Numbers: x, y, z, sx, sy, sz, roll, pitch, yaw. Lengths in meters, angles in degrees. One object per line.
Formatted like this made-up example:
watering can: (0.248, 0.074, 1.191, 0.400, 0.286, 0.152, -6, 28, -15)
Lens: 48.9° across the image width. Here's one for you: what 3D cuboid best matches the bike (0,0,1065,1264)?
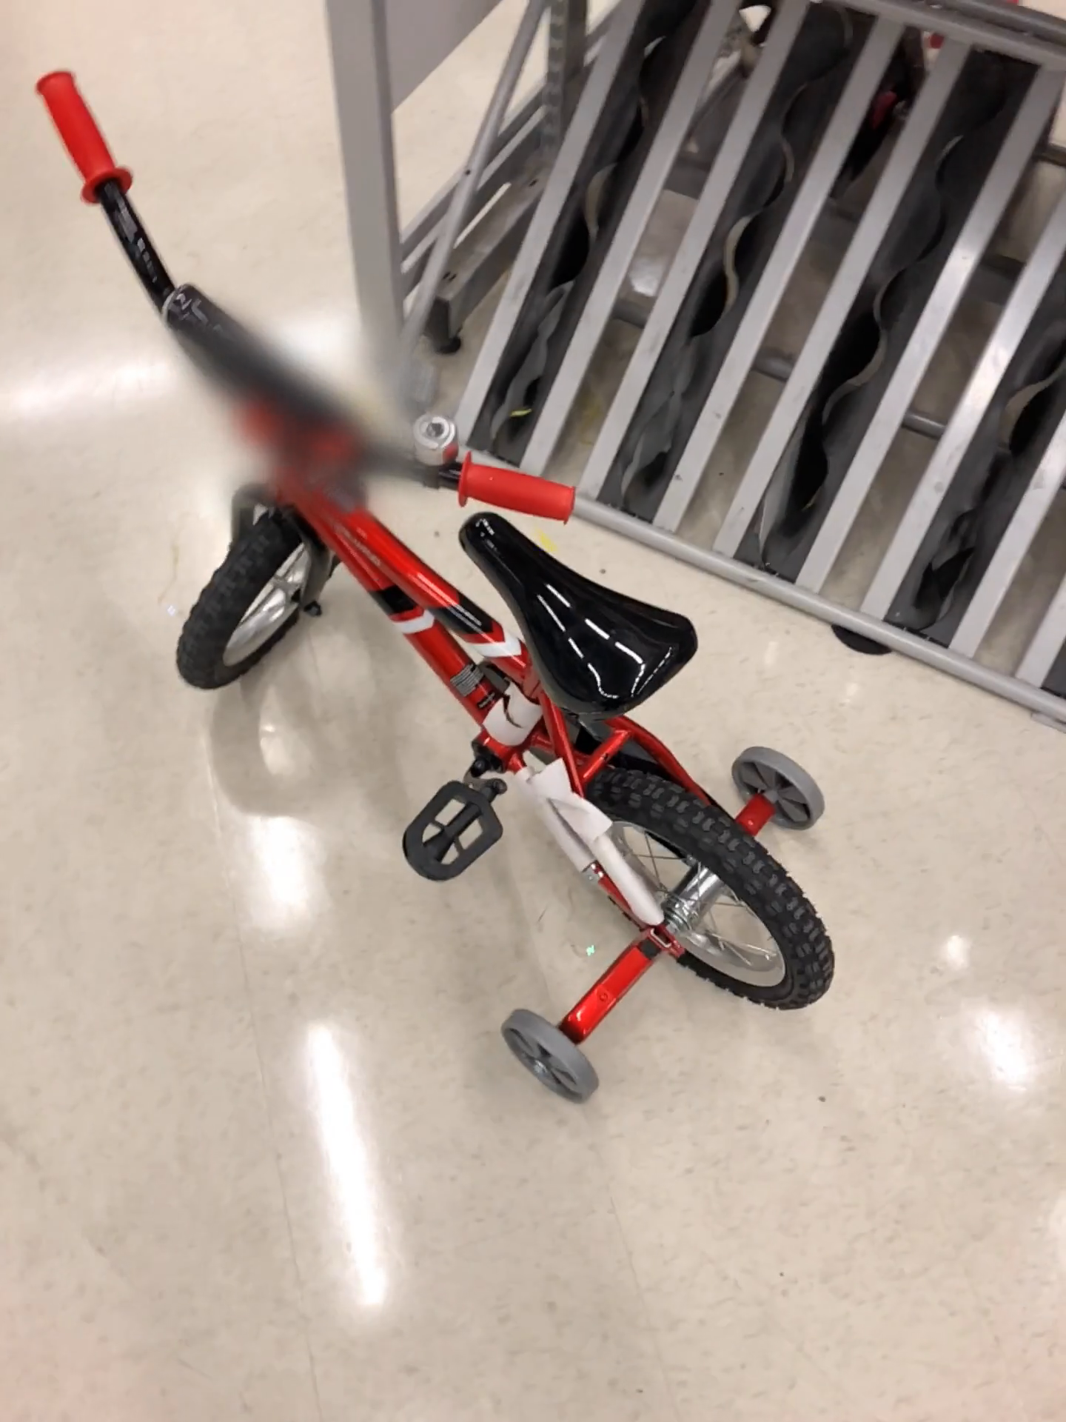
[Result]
bike: (-0.039, -0.022, 0.966, 0.699, 0.679, 0.532, 28, 61, 13)
